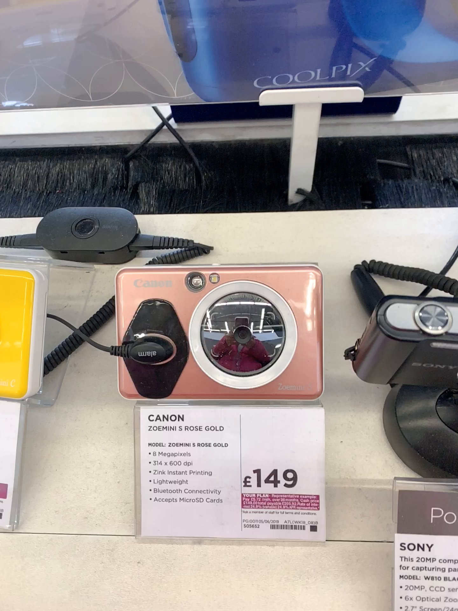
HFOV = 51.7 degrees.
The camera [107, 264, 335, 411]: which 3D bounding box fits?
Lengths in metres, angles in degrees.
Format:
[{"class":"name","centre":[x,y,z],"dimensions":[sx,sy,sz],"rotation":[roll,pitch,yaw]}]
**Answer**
[{"class":"camera","centre":[-0.005,0.018,0.279],"dimensions":[0.129,0.020,0.083],"rotation":[0,94,4]}]
